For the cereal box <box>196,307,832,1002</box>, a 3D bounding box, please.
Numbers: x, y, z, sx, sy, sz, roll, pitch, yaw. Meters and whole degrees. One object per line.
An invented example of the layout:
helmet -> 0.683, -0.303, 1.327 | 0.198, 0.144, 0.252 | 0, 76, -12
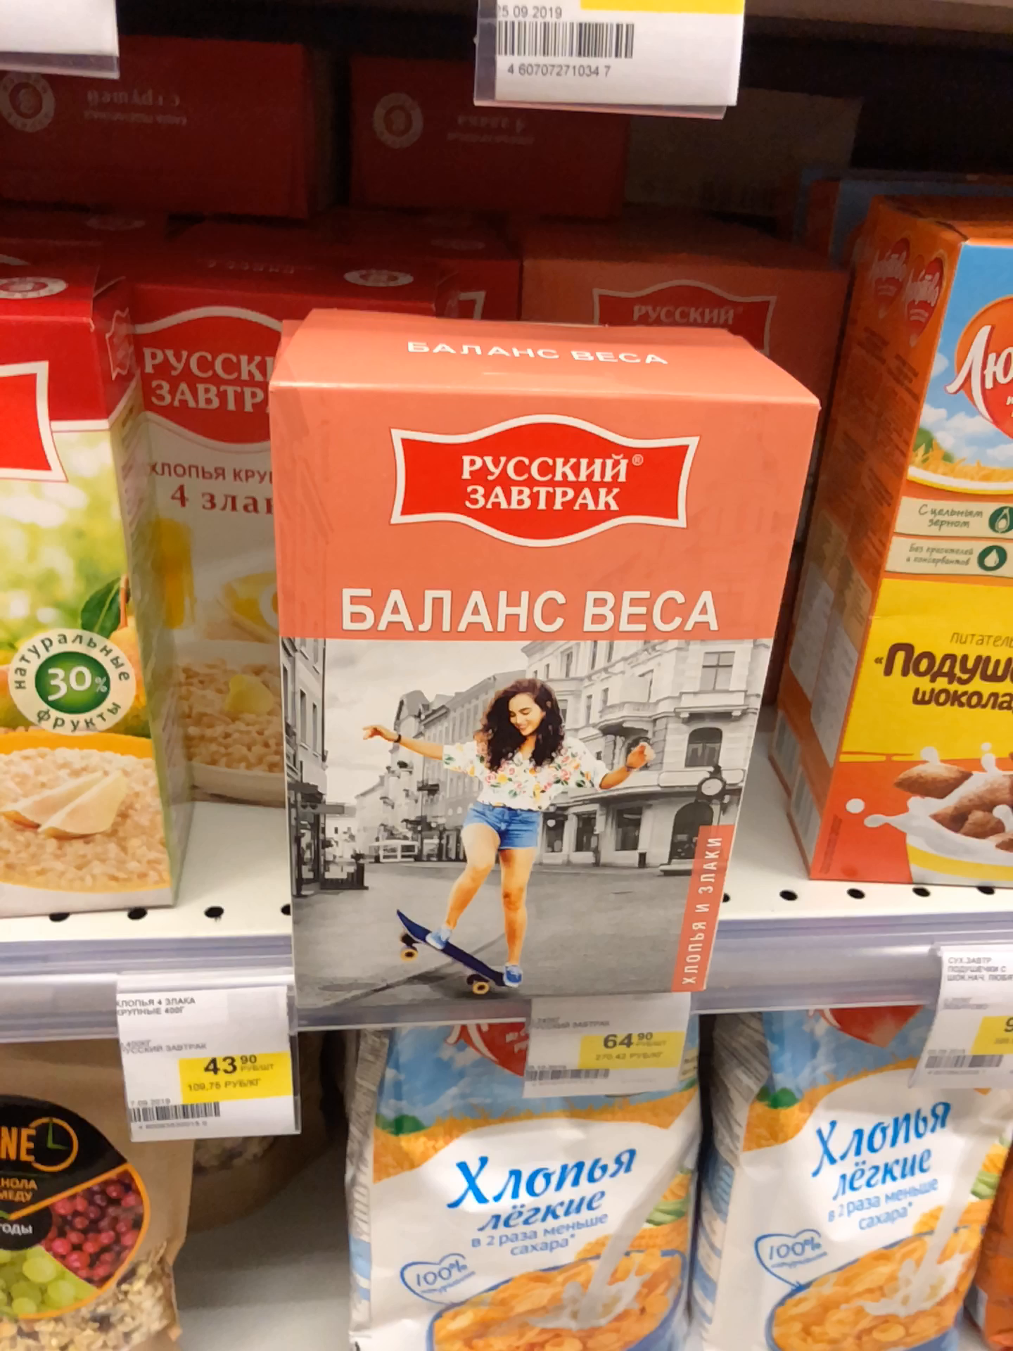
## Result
cereal box -> -0.005, -0.003, 0.319 | 0.140, 0.179, 0.070 | -1, 29, -8
